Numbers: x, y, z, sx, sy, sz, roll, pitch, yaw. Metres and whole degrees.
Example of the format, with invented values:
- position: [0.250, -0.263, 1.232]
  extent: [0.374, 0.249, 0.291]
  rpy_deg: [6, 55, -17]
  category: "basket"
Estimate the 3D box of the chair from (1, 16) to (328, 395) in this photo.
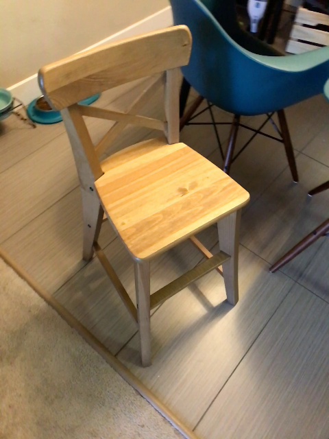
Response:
- position: [0.010, 0.003, 0.885]
  extent: [0.442, 0.686, 0.491]
  rpy_deg: [-28, 59, -23]
  category: "chair"
